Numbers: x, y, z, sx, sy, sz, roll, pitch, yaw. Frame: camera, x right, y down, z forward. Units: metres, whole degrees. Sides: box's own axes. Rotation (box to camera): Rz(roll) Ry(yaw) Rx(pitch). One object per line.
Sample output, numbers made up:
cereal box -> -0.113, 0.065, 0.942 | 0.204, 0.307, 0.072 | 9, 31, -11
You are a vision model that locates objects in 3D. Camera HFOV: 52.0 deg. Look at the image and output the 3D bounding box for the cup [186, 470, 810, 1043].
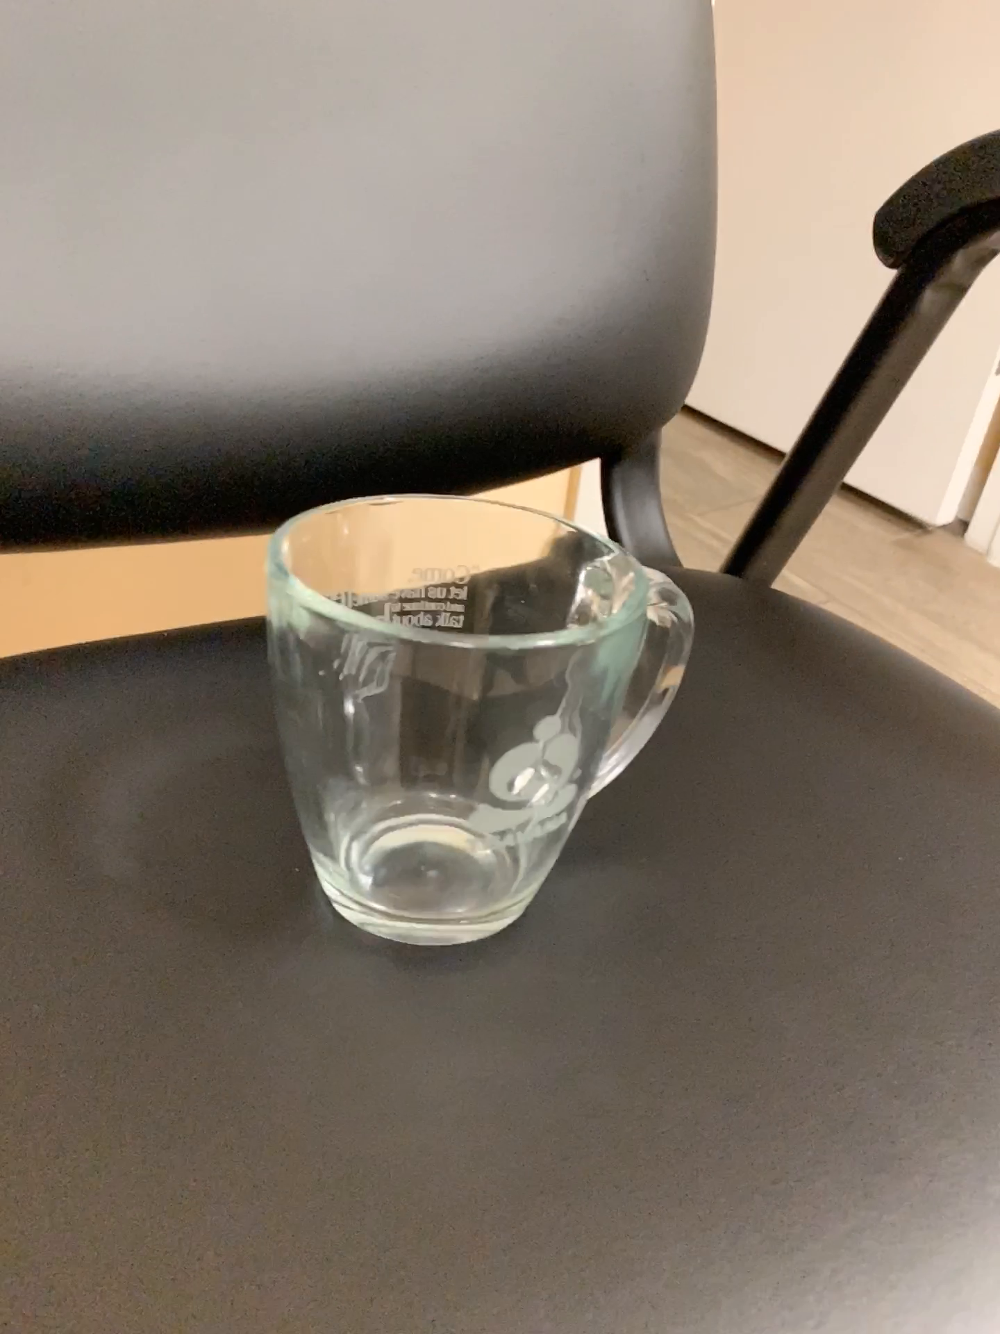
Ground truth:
cup -> -0.003, 0.012, 0.298 | 0.140, 0.100, 0.096 | -15, 34, -36
